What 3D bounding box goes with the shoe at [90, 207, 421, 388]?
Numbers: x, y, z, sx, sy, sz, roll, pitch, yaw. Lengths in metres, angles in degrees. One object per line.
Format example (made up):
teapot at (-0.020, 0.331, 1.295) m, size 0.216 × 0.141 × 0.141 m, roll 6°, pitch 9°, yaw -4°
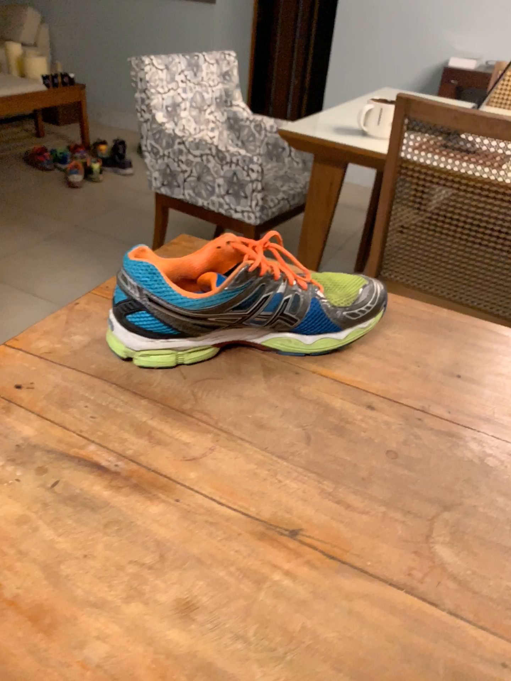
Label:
shoe at (-0.005, -0.056, 0.548) m, size 0.301 × 0.109 × 0.126 m, roll -8°, pitch 37°, yaw -18°
